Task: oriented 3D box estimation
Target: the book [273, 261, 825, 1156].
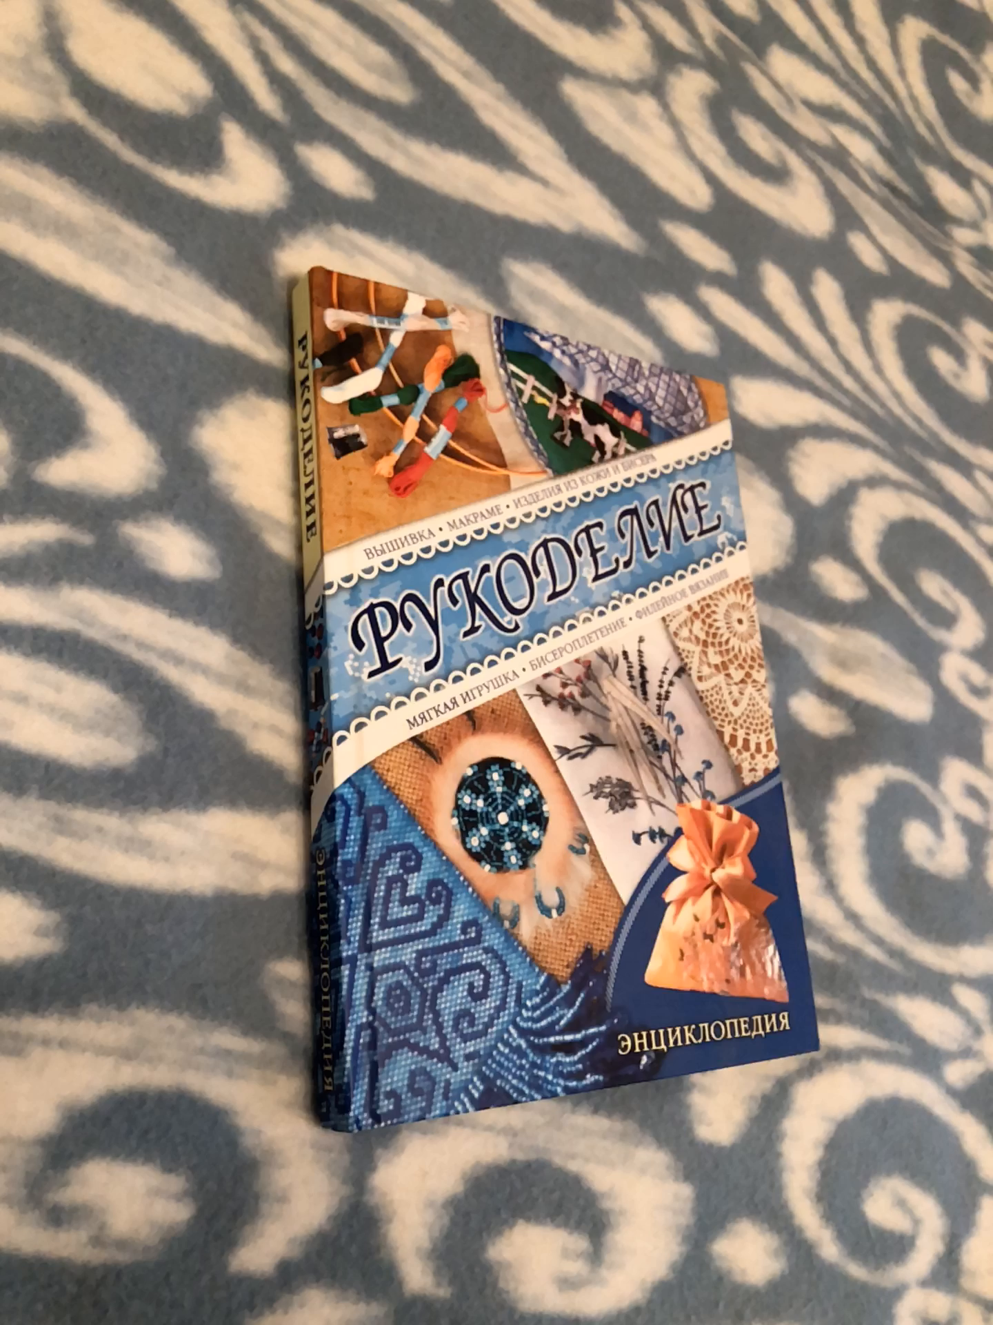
[{"bbox_3d":[0.018,0.008,0.340,0.169,0.020,0.237,5,73,-33],"label":"book"}]
